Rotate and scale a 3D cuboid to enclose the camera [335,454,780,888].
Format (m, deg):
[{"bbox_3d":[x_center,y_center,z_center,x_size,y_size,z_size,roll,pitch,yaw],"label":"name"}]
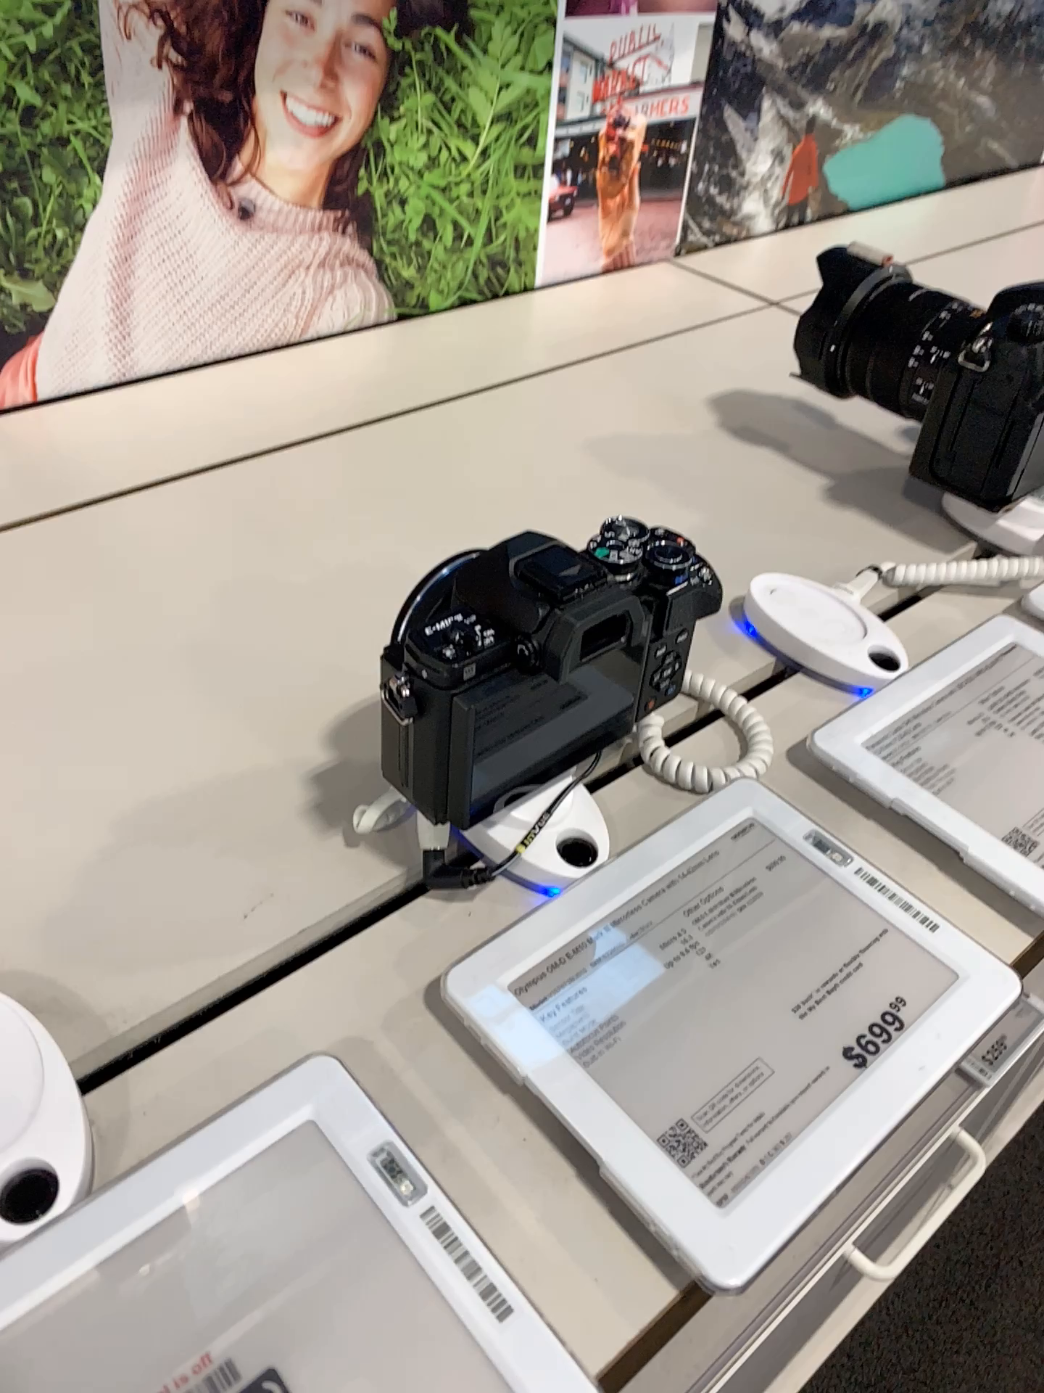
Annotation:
[{"bbox_3d":[0.012,-0.014,0.368,0.130,0.080,0.070,-29,51,-33],"label":"camera"}]

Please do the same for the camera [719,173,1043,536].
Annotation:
[{"bbox_3d":[0.239,-0.197,0.589,0.140,0.099,0.201,-29,51,-33],"label":"camera"}]
